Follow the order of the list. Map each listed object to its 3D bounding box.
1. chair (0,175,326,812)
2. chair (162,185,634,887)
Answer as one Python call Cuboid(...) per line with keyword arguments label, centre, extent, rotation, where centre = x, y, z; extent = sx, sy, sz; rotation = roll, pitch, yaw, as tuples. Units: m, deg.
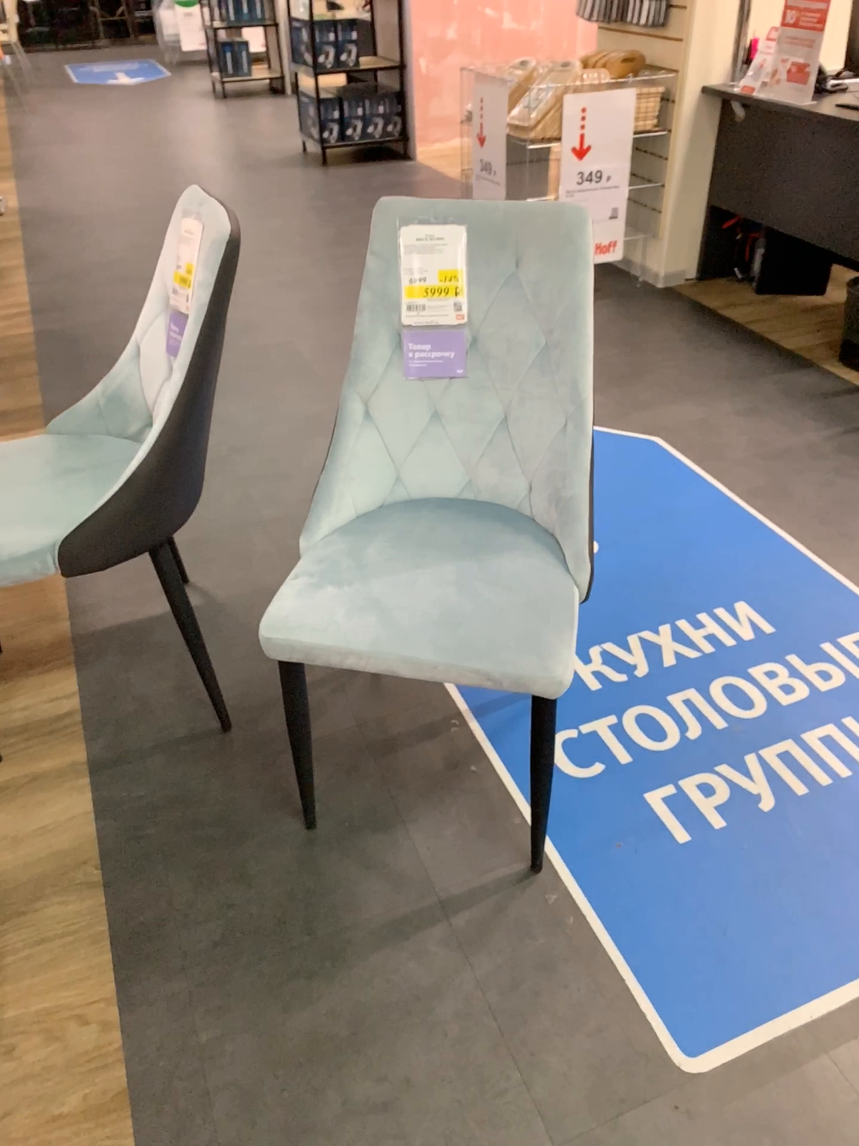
Cuboid(label="chair", centre=(-0.633, -0.168, 1.622), extent=(0.665, 0.880, 0.571), rotation=(-14, 37, -17))
Cuboid(label="chair", centre=(0.017, -0.062, 1.373), extent=(0.470, 0.885, 0.553), rotation=(7, 36, 12))
